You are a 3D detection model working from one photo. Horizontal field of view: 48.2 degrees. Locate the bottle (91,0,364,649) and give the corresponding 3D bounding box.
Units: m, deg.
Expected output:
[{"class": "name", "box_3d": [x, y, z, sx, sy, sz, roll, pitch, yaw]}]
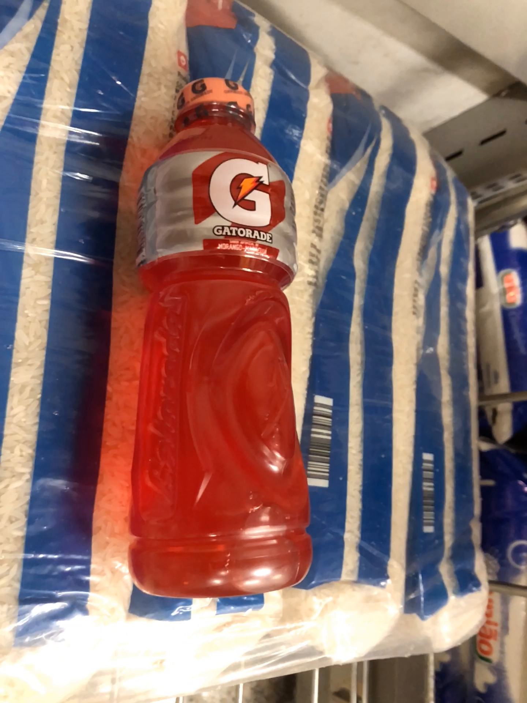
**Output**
[{"class": "bottle", "box_3d": [-0.013, -0.017, 0.231, 0.080, 0.060, 0.220, 6, 80, -32]}]
